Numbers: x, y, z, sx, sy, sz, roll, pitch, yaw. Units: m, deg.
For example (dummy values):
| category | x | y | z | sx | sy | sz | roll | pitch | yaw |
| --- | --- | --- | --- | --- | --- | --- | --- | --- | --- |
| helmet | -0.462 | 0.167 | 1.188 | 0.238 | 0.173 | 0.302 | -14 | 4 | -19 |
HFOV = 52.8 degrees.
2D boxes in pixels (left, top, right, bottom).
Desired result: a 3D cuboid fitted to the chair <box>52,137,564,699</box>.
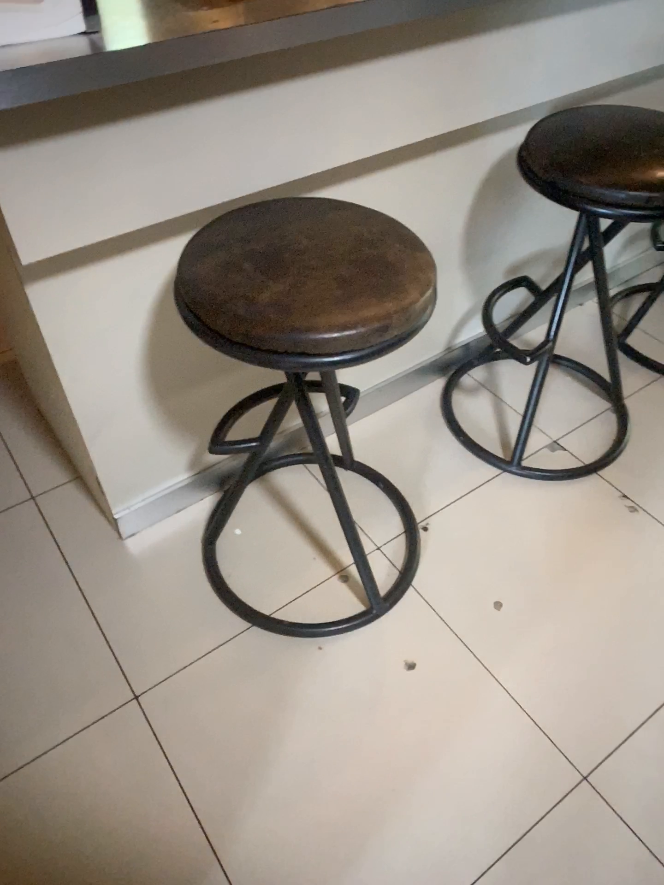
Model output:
| category | x | y | z | sx | sy | sz | roll | pitch | yaw |
| --- | --- | --- | --- | --- | --- | --- | --- | --- | --- |
| chair | -0.053 | -0.049 | 1.260 | 0.551 | 0.727 | 0.548 | -28 | 53 | -25 |

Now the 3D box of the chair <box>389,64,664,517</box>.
| category | x | y | z | sx | sy | sz | roll | pitch | yaw |
| --- | --- | --- | --- | --- | --- | --- | --- | --- | --- |
| chair | 0.537 | -0.353 | 1.548 | 0.551 | 0.727 | 0.528 | -28 | 53 | -25 |
